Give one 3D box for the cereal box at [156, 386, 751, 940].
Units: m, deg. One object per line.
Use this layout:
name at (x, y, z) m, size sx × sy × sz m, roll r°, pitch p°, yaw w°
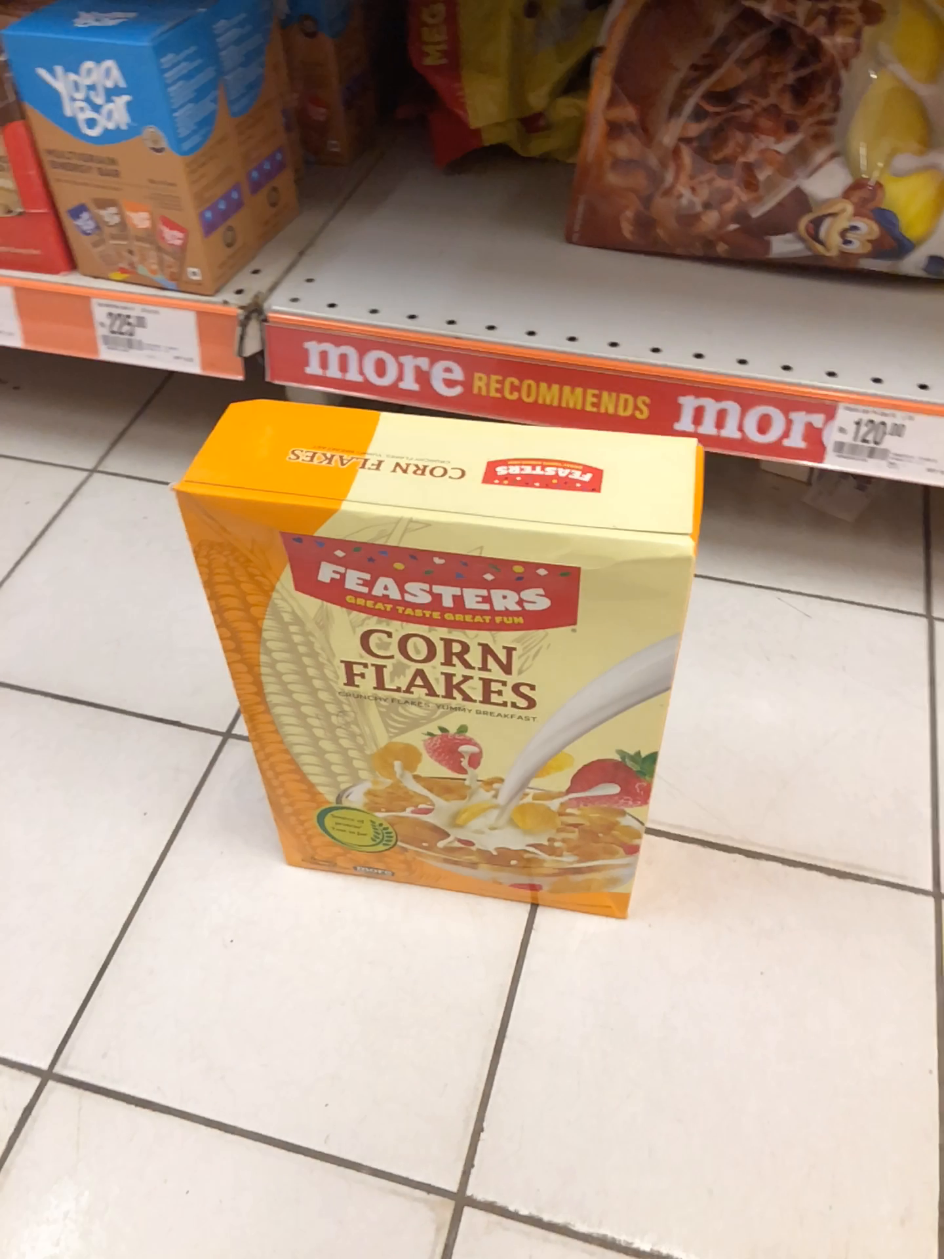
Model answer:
cereal box at (0.000, 0.029, 0.439) m, size 0.190 × 0.249 × 0.060 m, roll 7°, pitch 48°, yaw 10°
